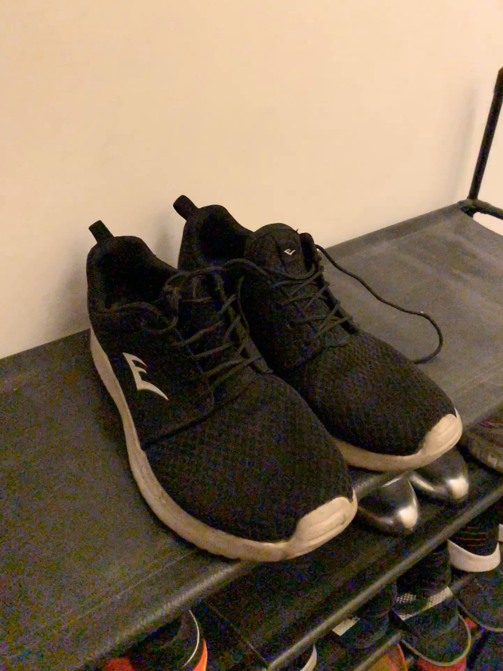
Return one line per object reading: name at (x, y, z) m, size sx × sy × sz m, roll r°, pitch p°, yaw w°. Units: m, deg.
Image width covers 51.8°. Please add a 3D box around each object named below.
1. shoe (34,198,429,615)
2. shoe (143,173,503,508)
shoe at (-0.042, 0.009, 0.358) m, size 0.110 × 0.099 × 0.302 m, roll -21°, pitch 40°, yaw -27°
shoe at (0.042, -0.029, 0.409) m, size 0.120 × 0.099 × 0.302 m, roll -23°, pitch 40°, yaw -28°
